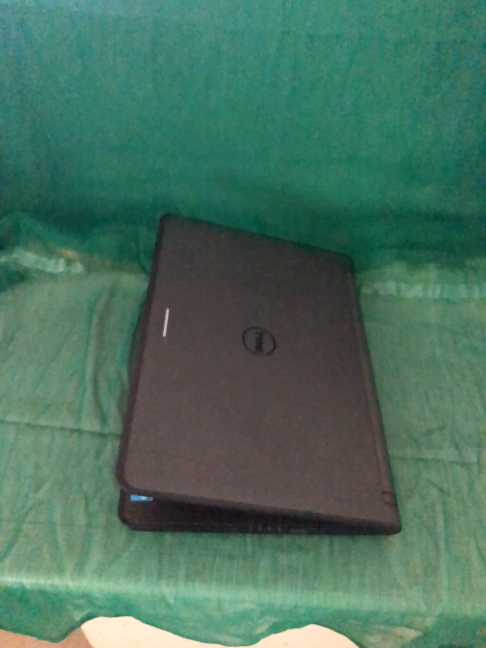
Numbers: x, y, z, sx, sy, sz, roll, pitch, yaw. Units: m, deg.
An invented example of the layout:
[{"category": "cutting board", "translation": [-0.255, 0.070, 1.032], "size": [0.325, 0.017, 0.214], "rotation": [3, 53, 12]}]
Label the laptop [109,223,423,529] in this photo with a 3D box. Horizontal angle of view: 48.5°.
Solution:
[{"category": "laptop", "translation": [0.016, 0.029, 0.519], "size": [0.229, 0.064, 0.307], "rotation": [2, 48, -2]}]
